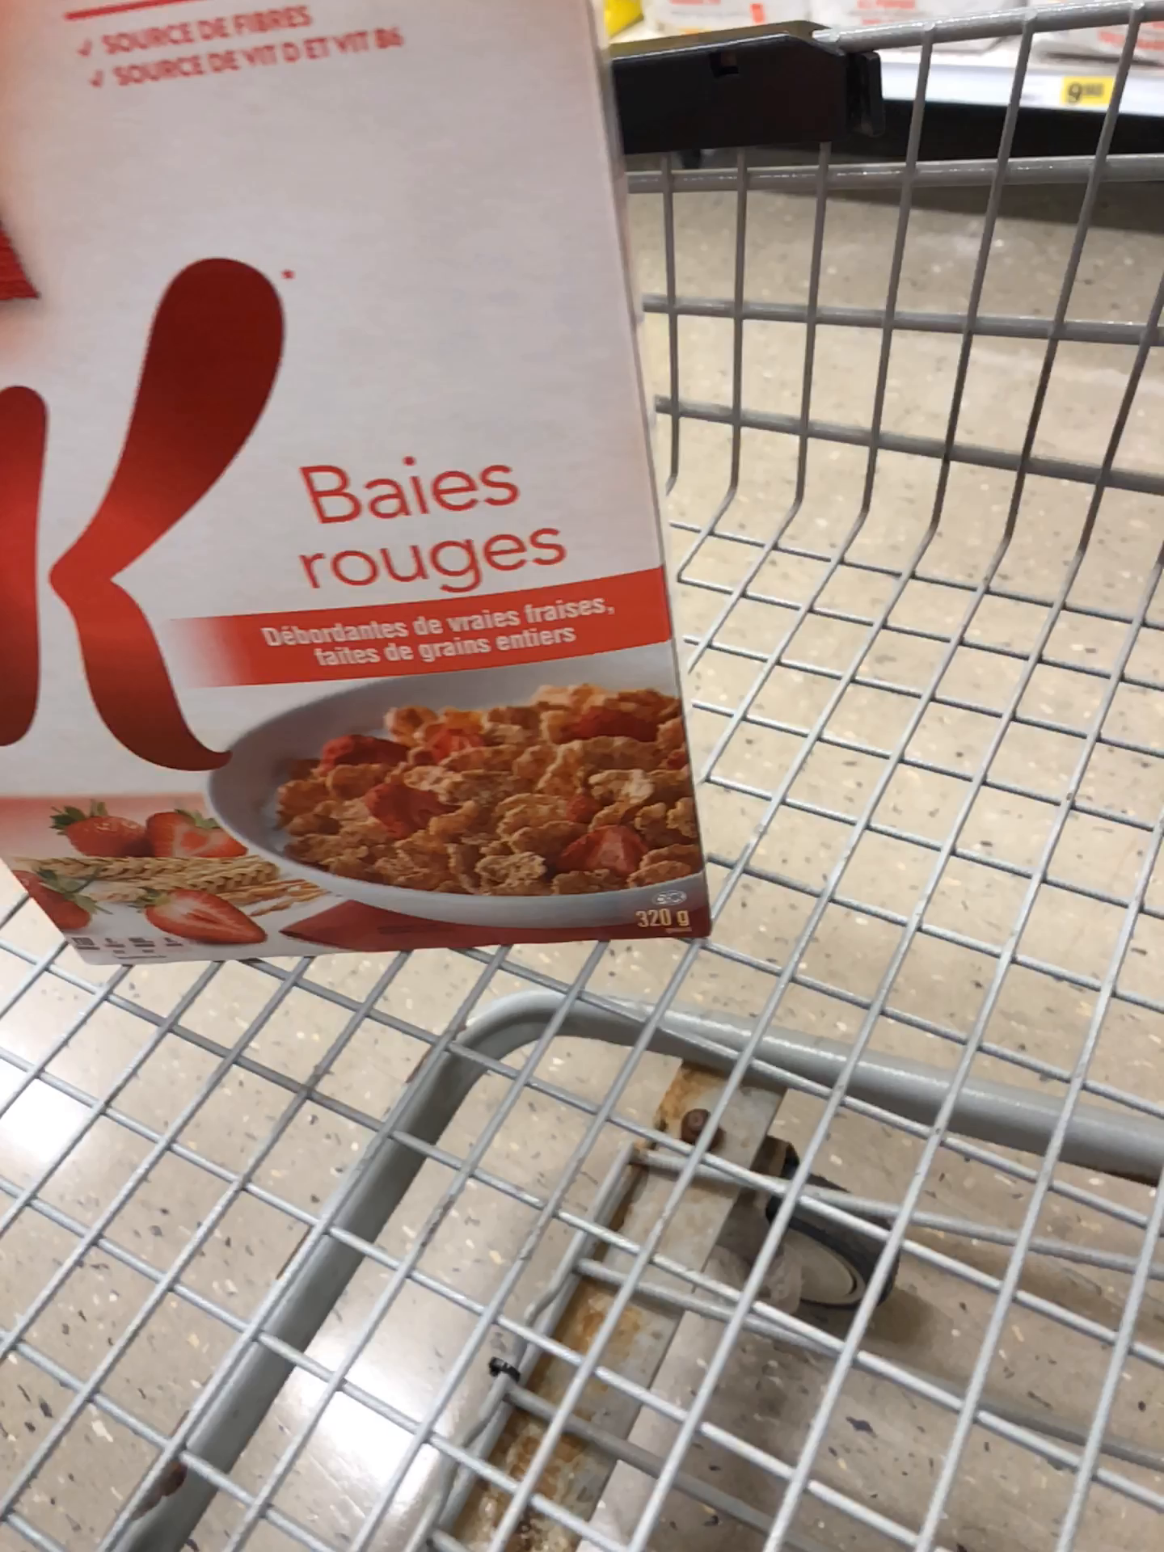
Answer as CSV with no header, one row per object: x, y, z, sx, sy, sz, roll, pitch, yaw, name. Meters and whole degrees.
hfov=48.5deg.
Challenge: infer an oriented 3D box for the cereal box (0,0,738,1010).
-0.079,-0.045,0.292,0.210,0.269,0.050,-3,47,9,cereal box
